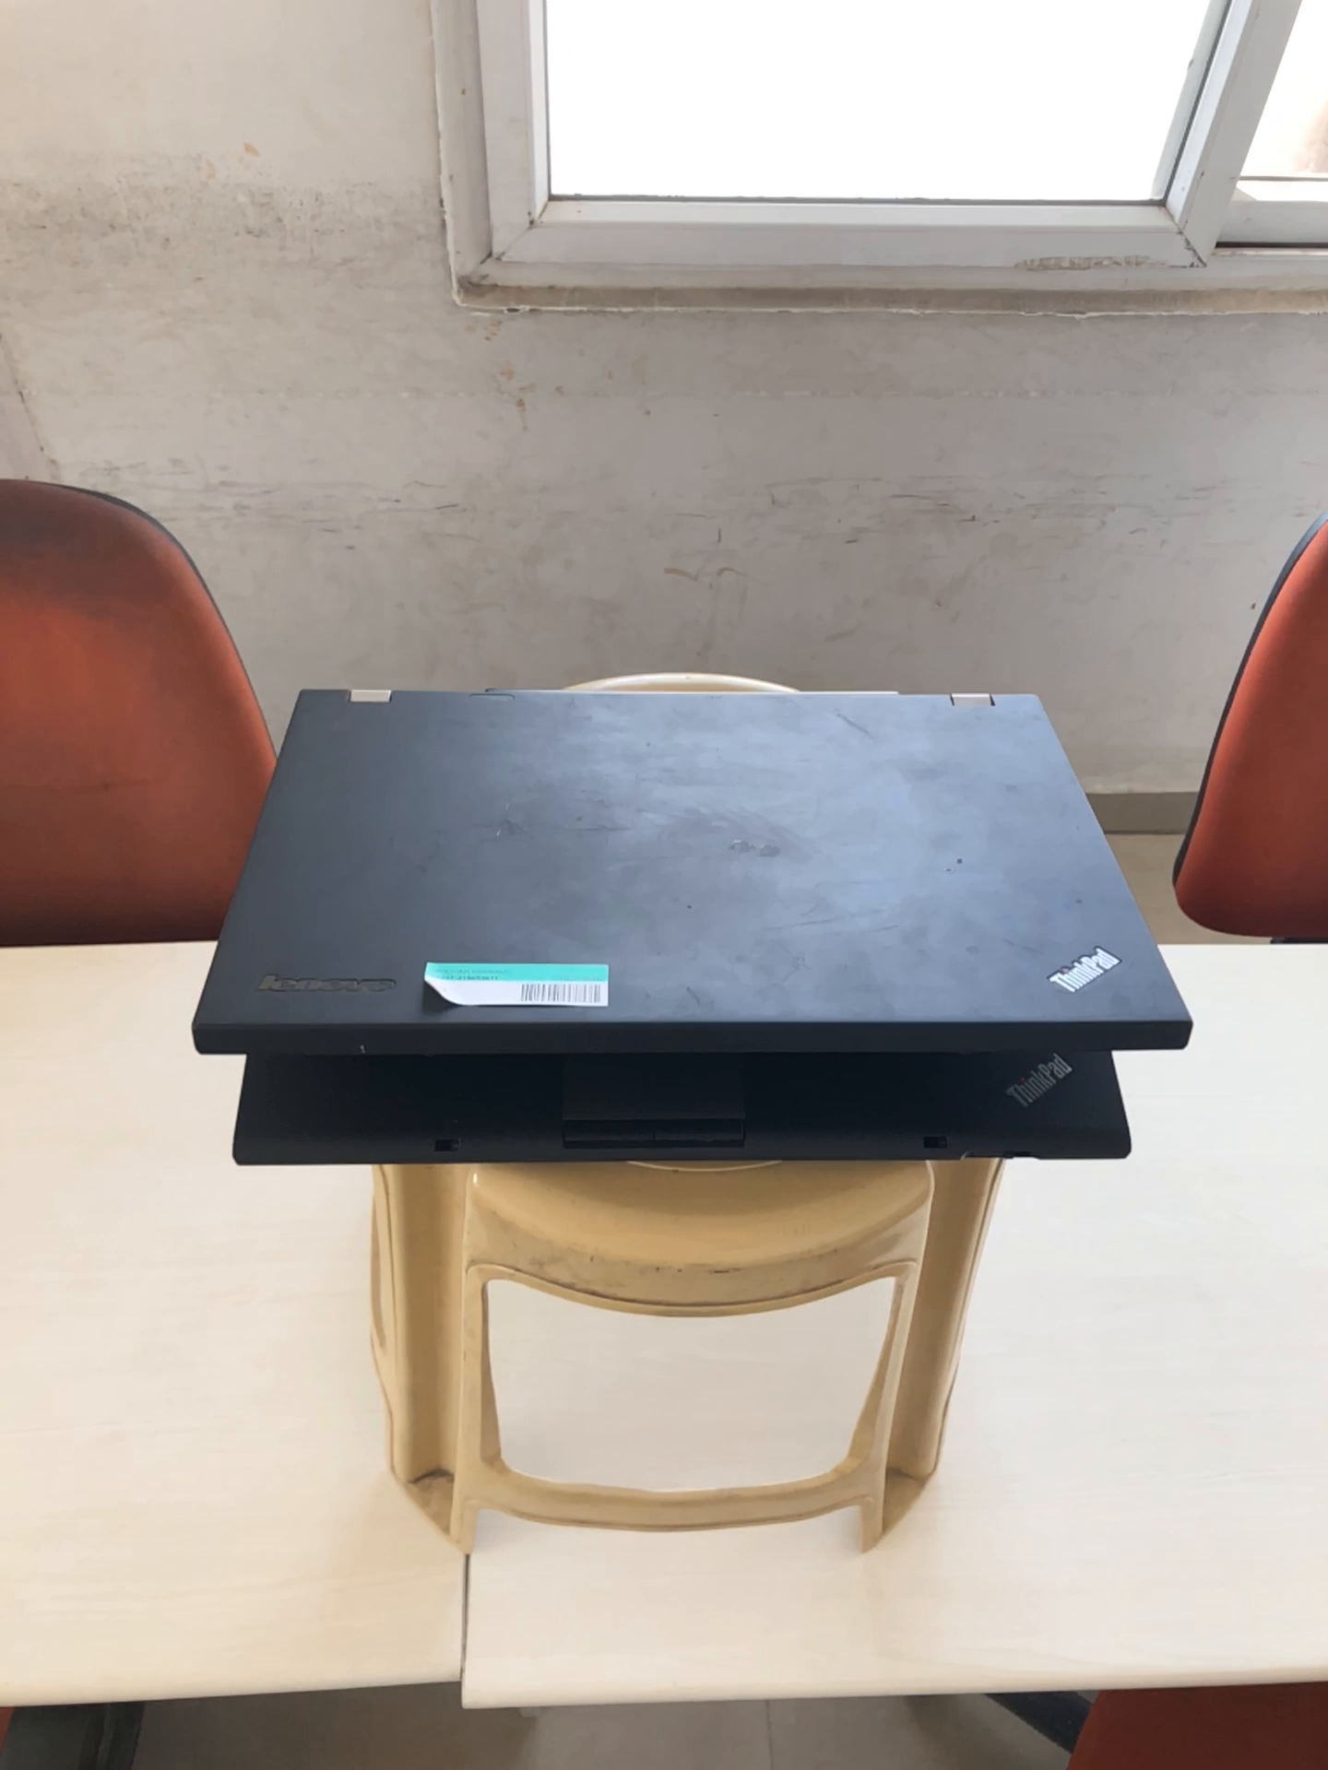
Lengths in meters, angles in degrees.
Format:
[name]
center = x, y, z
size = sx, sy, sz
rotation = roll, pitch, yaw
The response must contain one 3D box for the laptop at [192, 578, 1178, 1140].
[laptop]
center = 0.009, -0.020, 0.631
size = 0.362, 0.074, 0.236
rotation = 0, 56, -3
